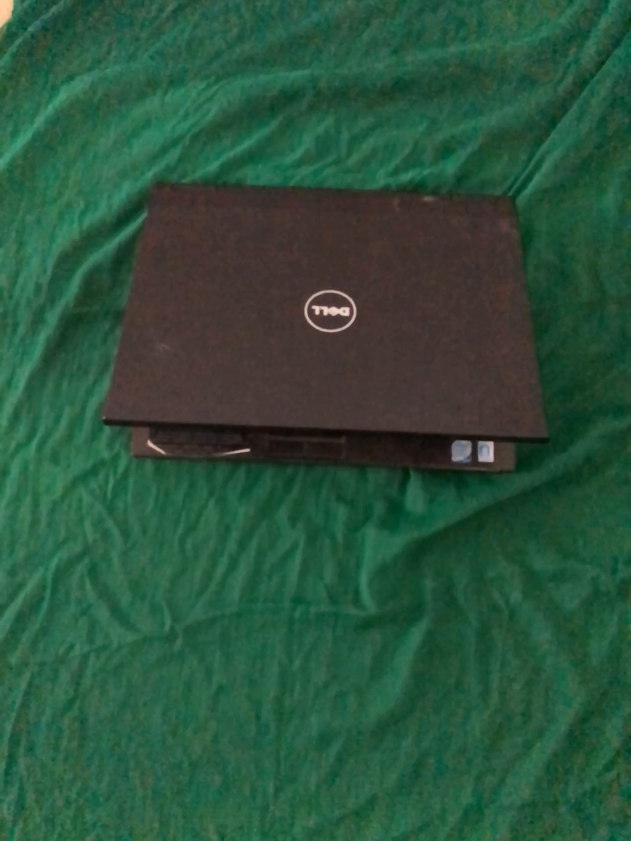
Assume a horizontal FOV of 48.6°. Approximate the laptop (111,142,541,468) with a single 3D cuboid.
[{"bbox_3d":[0.011,-0.086,0.550,0.306,0.066,0.226,2,84,0],"label":"laptop"}]
